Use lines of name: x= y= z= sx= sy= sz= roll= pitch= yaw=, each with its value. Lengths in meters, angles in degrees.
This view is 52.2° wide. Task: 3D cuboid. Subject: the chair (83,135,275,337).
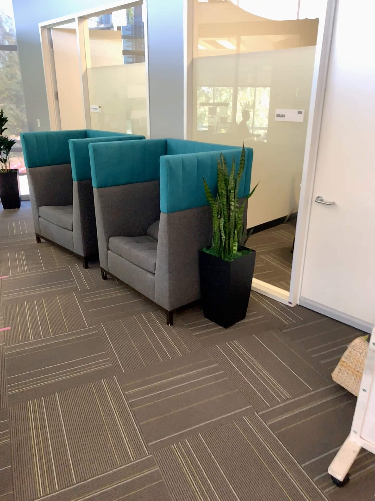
chair: x=-0.089 y=-0.239 z=3.087 sx=1.011 sy=1.214 sz=1.055 roll=-16 pitch=27 yaw=-36
